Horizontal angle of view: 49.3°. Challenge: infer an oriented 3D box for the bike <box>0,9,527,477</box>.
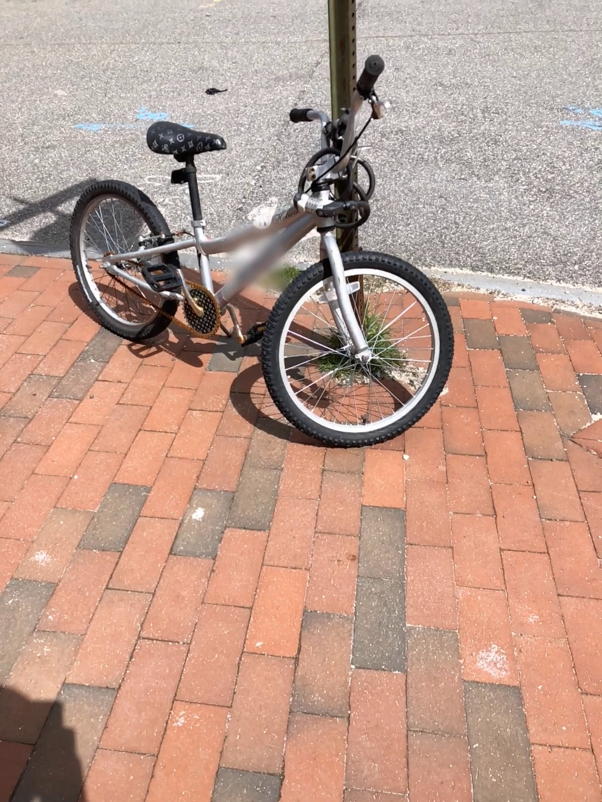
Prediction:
[{"bbox_3d":[-0.194,-0.506,1.731,1.210,0.831,0.719,17,39,24],"label":"bike"}]
